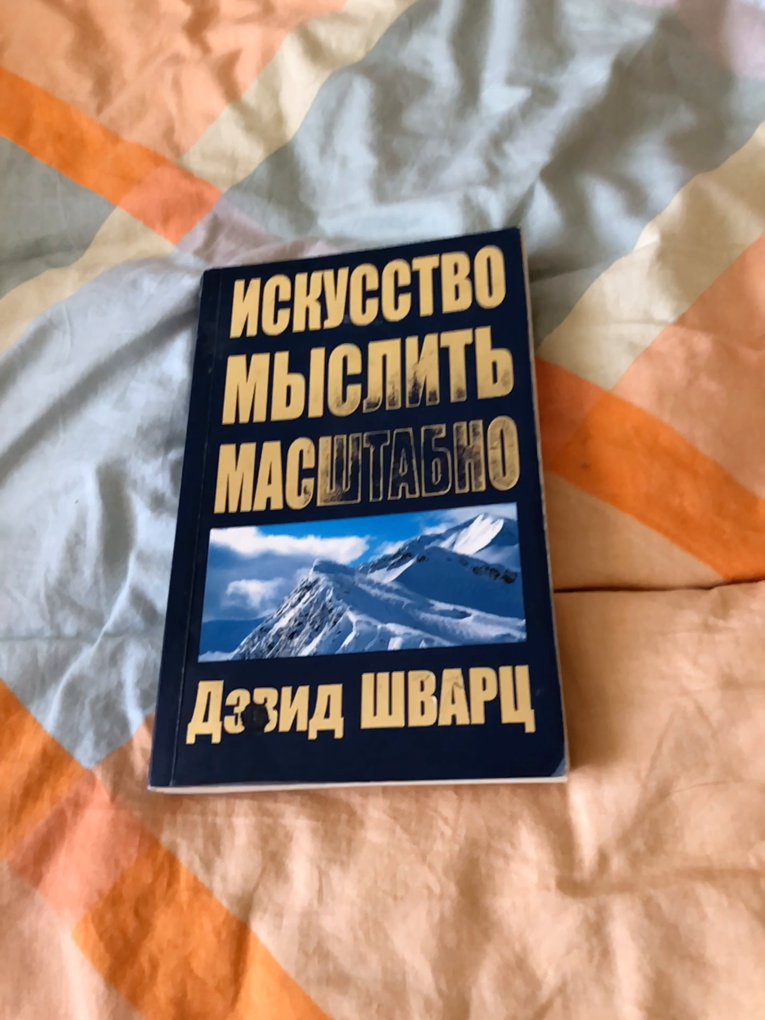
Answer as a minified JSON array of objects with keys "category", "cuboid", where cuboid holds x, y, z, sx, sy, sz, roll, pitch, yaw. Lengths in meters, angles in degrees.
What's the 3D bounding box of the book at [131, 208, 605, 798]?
[{"category":"book","cuboid":[-0.004,-0.008,0.275,0.127,0.028,0.189,-5,64,10]}]
